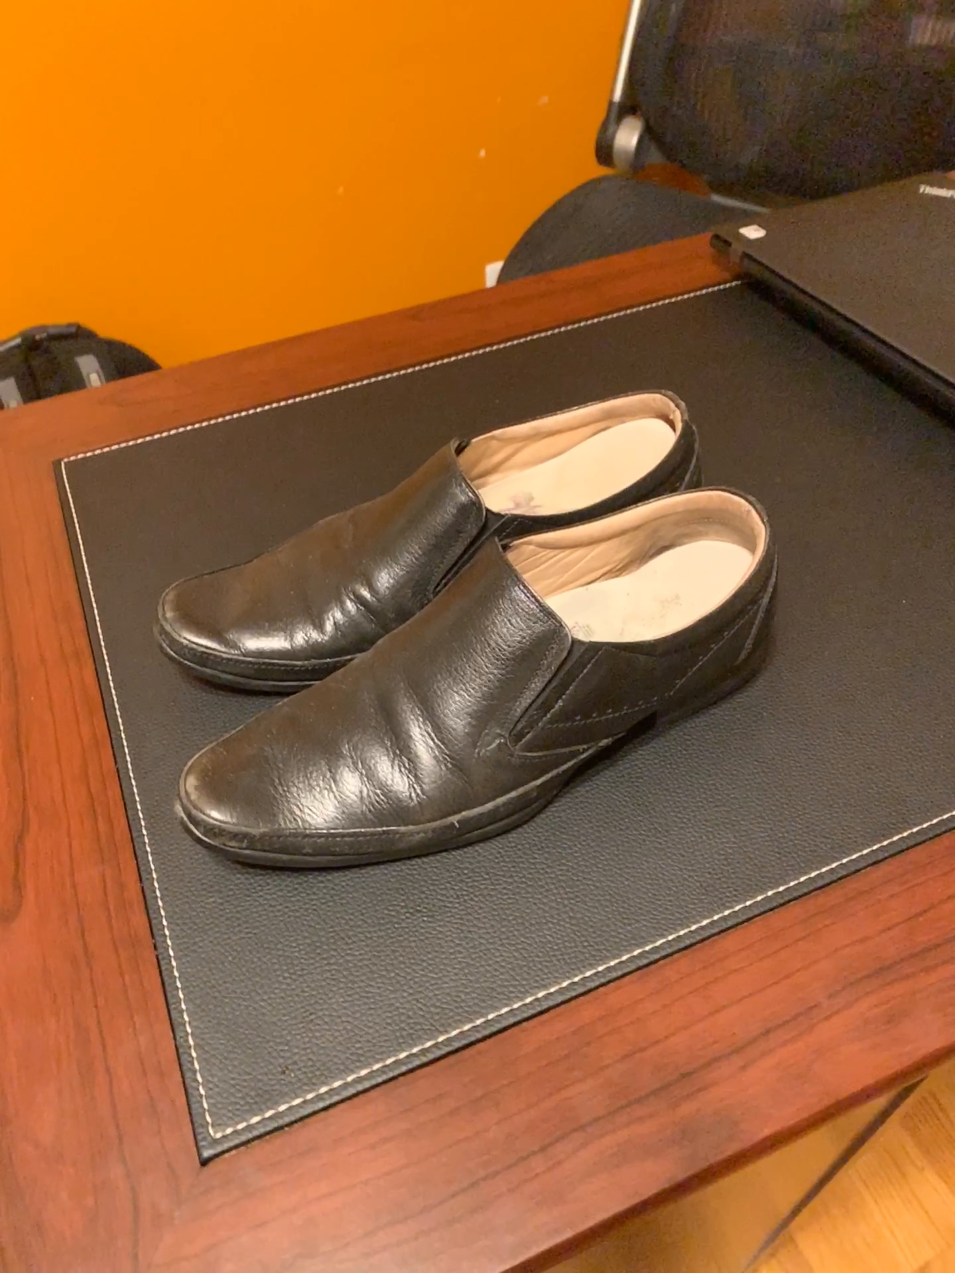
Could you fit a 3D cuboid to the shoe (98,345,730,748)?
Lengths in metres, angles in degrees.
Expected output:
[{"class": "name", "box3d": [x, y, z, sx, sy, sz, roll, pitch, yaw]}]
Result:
[{"class": "shoe", "box3d": [-0.030, -0.054, 0.501, 0.285, 0.077, 0.111, -18, 50, -13]}]

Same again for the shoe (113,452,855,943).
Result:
[{"class": "shoe", "box3d": [0.004, 0.017, 0.429, 0.285, 0.077, 0.106, -18, 50, -13]}]
